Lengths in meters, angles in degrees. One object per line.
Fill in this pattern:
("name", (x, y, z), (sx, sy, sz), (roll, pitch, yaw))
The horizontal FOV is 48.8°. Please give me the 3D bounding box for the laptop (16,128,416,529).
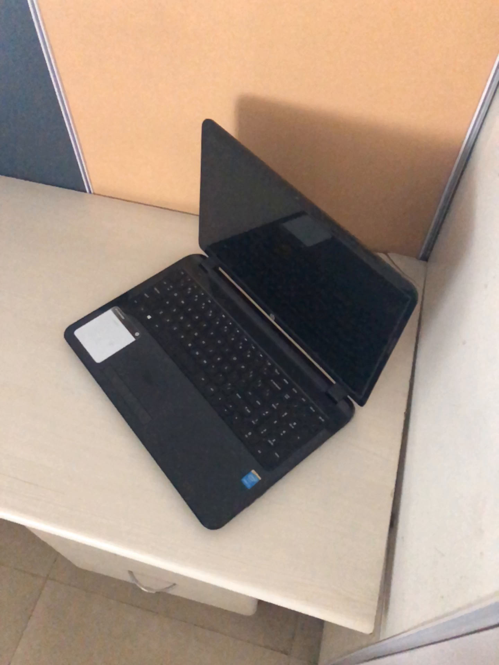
("laptop", (-0.048, -0.013, 0.679), (0.265, 0.226, 0.351), (-34, 63, -19))
